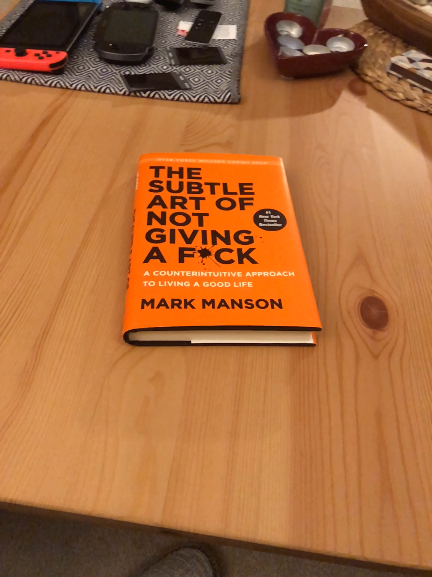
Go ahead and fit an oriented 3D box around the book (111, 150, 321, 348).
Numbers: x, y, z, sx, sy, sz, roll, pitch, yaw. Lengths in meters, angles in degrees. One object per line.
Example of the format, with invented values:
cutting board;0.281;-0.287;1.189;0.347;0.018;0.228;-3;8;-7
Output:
book;-0.002;-0.048;0.444;0.160;0.030;0.221;1;51;-3
